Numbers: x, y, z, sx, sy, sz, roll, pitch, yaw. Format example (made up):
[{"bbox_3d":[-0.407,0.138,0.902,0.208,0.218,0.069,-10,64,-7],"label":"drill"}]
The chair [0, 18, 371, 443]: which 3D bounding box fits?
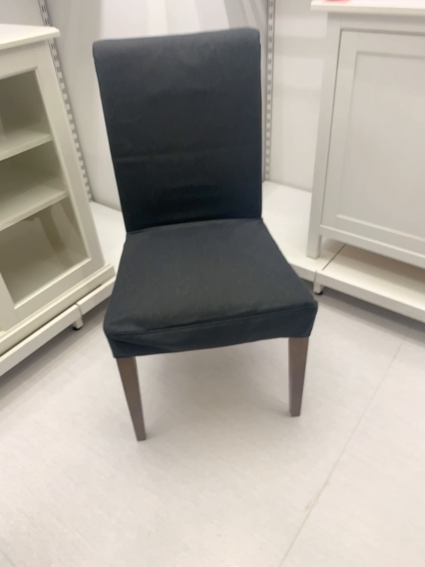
[{"bbox_3d":[-0.049,-0.139,1.126,0.540,0.836,0.613,-7,38,-4],"label":"chair"}]
